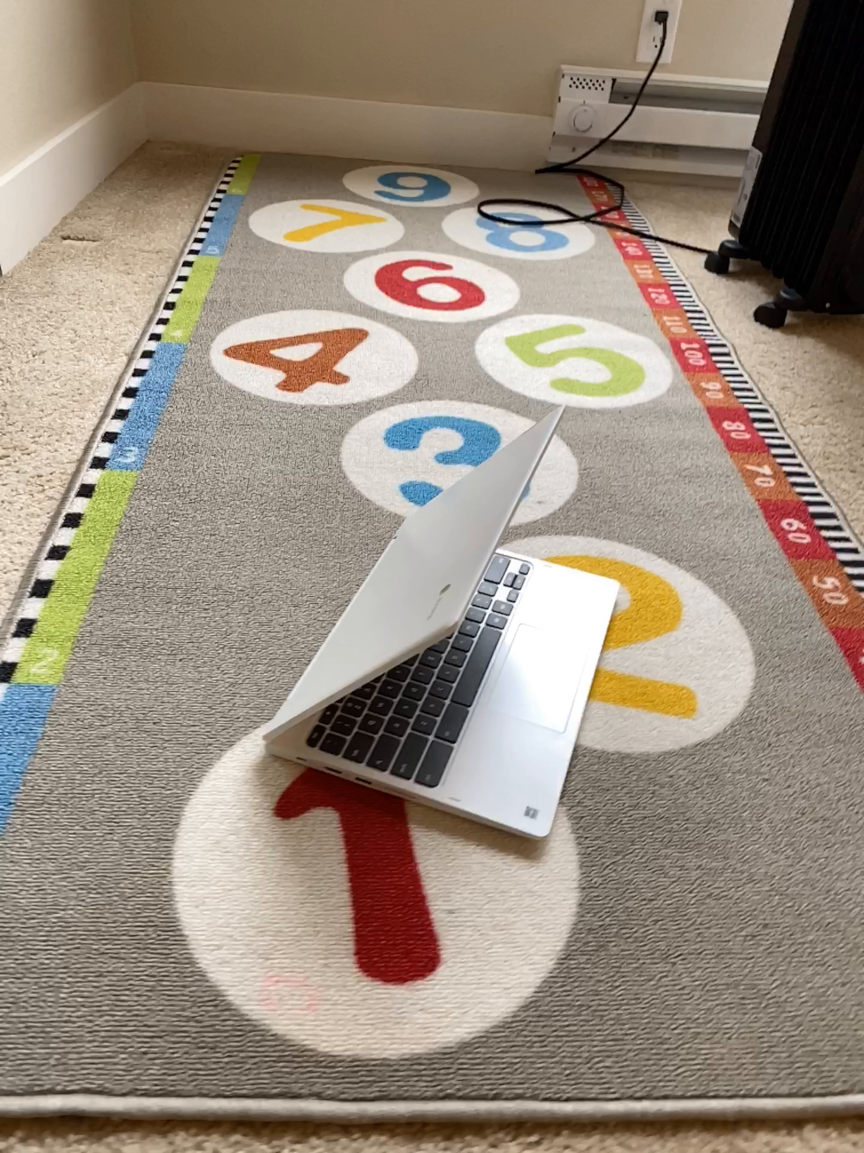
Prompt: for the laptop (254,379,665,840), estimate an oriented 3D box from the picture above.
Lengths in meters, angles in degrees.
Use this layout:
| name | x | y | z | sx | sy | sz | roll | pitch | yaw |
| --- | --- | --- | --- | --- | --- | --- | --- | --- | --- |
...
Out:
| name | x | y | z | sx | sy | sz | roll | pitch | yaw |
| --- | --- | --- | --- | --- | --- | --- | --- | --- | --- |
| laptop | 0.035 | 0.003 | 0.685 | 0.216 | 0.162 | 0.300 | 15 | 39 | 12 |
